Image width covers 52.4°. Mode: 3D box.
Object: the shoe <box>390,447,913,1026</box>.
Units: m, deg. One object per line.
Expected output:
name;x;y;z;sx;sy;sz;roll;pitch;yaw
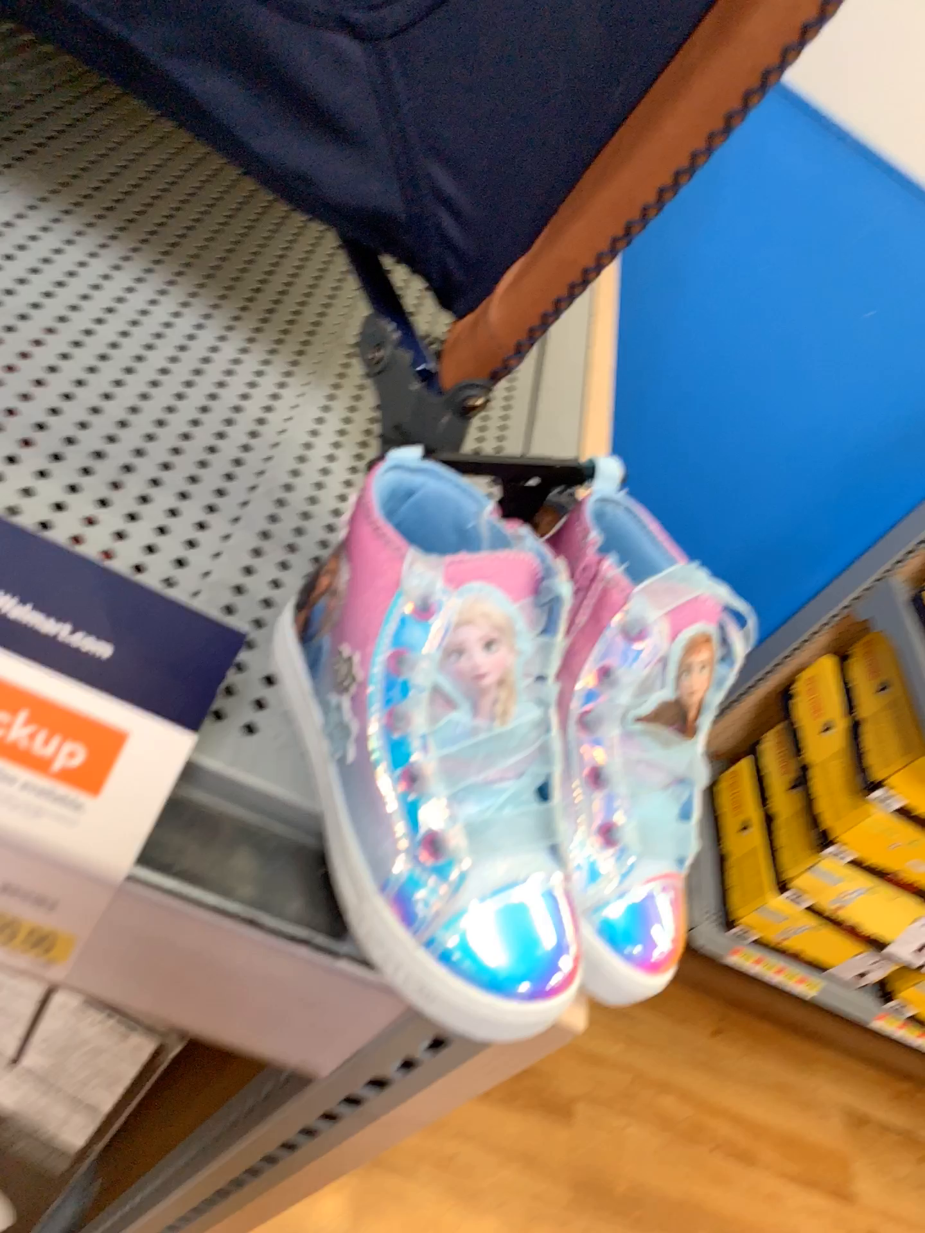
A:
shoe;0.063;0.042;0.372;0.090;0.102;0.183;5;50;-42

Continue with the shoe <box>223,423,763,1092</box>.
shoe;-0.004;0.040;0.320;0.080;0.102;0.183;0;53;-38
